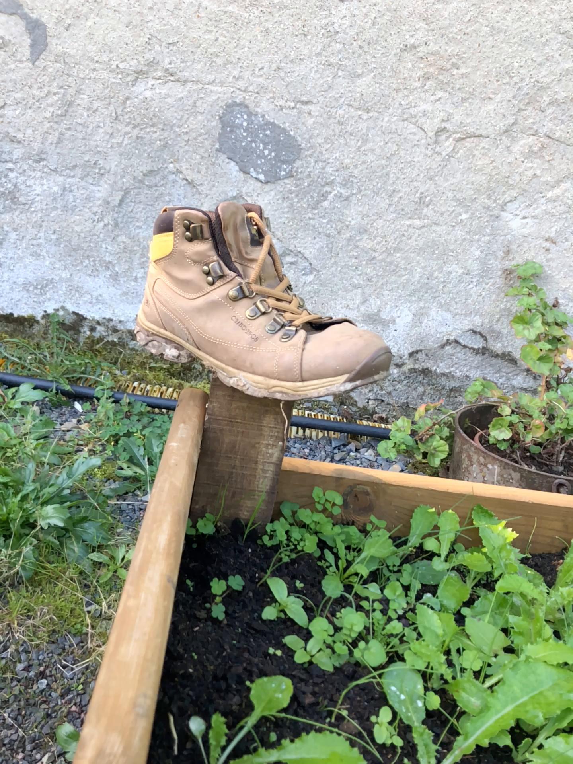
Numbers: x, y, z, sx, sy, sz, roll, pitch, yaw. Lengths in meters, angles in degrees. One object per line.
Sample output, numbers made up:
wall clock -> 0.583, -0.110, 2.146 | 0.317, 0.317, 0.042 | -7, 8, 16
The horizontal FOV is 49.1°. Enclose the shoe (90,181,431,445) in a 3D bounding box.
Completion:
shoe -> -0.038, -0.076, 0.546 | 0.280, 0.149, 0.101 | 20, 22, 32
